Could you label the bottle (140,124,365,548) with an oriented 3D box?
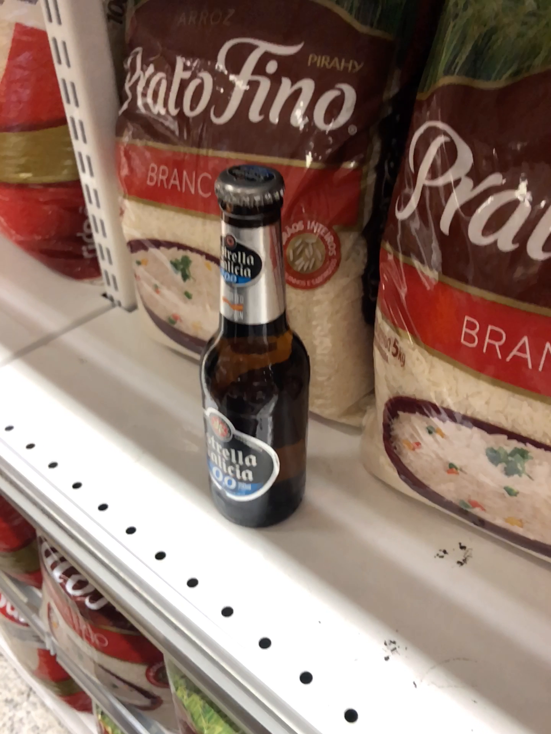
[{"bbox_3d":[-0.009,-0.005,0.293,0.060,0.188,0.060,0,40,0],"label":"bottle"}]
